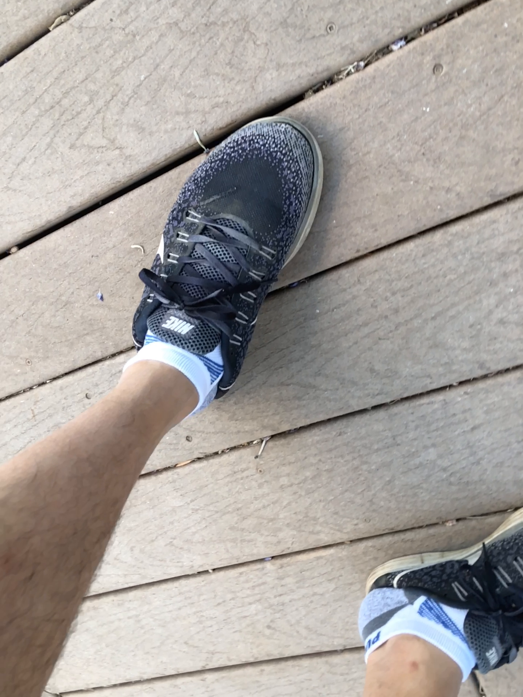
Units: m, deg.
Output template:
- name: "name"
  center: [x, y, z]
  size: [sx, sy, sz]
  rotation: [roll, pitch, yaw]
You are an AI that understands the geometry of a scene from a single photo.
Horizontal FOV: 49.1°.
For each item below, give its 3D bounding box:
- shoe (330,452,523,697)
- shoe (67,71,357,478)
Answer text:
- name: "shoe"
  center: [0.239, 0.233, 0.556]
  size: [0.320, 0.090, 0.120]
  rotation: [-29, 101, 19]
- name: "shoe"
  center: [-0.048, -0.054, 0.502]
  size: [0.120, 0.090, 0.311]
  rotation: [28, 112, 3]
